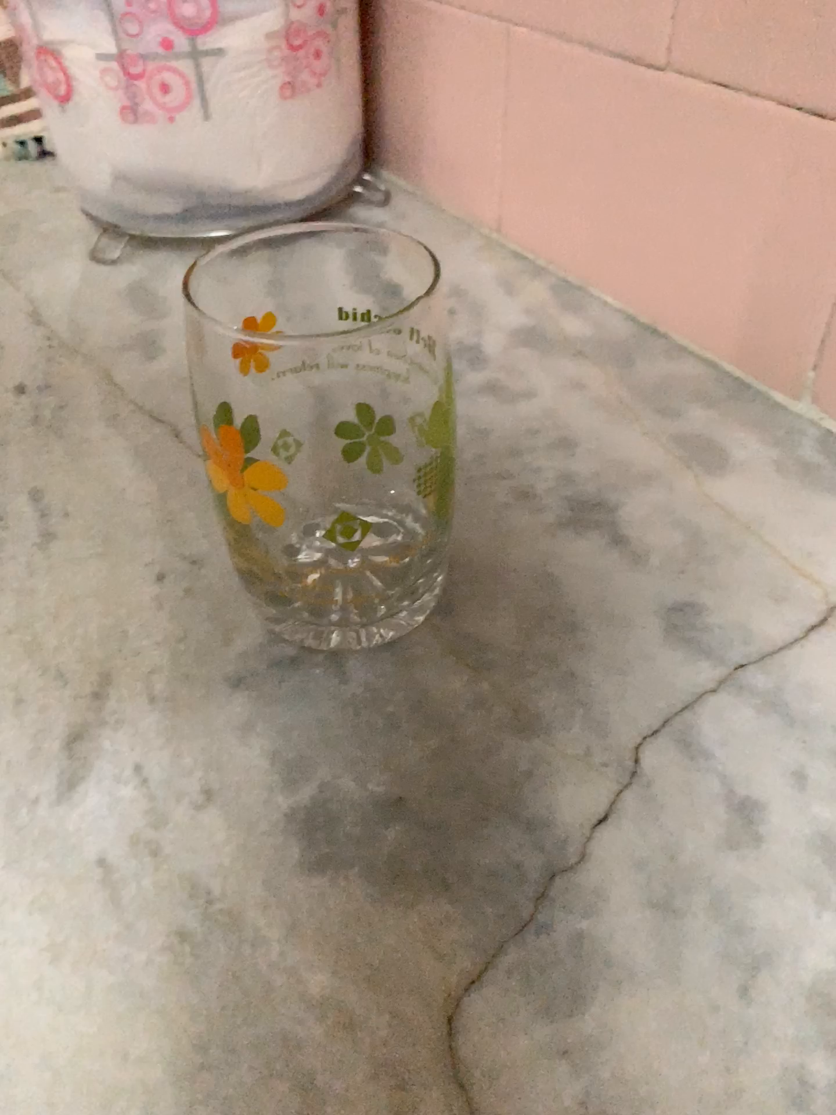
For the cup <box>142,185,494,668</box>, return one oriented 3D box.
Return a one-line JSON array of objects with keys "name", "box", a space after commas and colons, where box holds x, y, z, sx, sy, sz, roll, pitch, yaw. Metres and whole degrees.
[{"name": "cup", "box": [-0.021, -0.033, 0.232, 0.070, 0.100, 0.070, -2, 42, 1]}]
